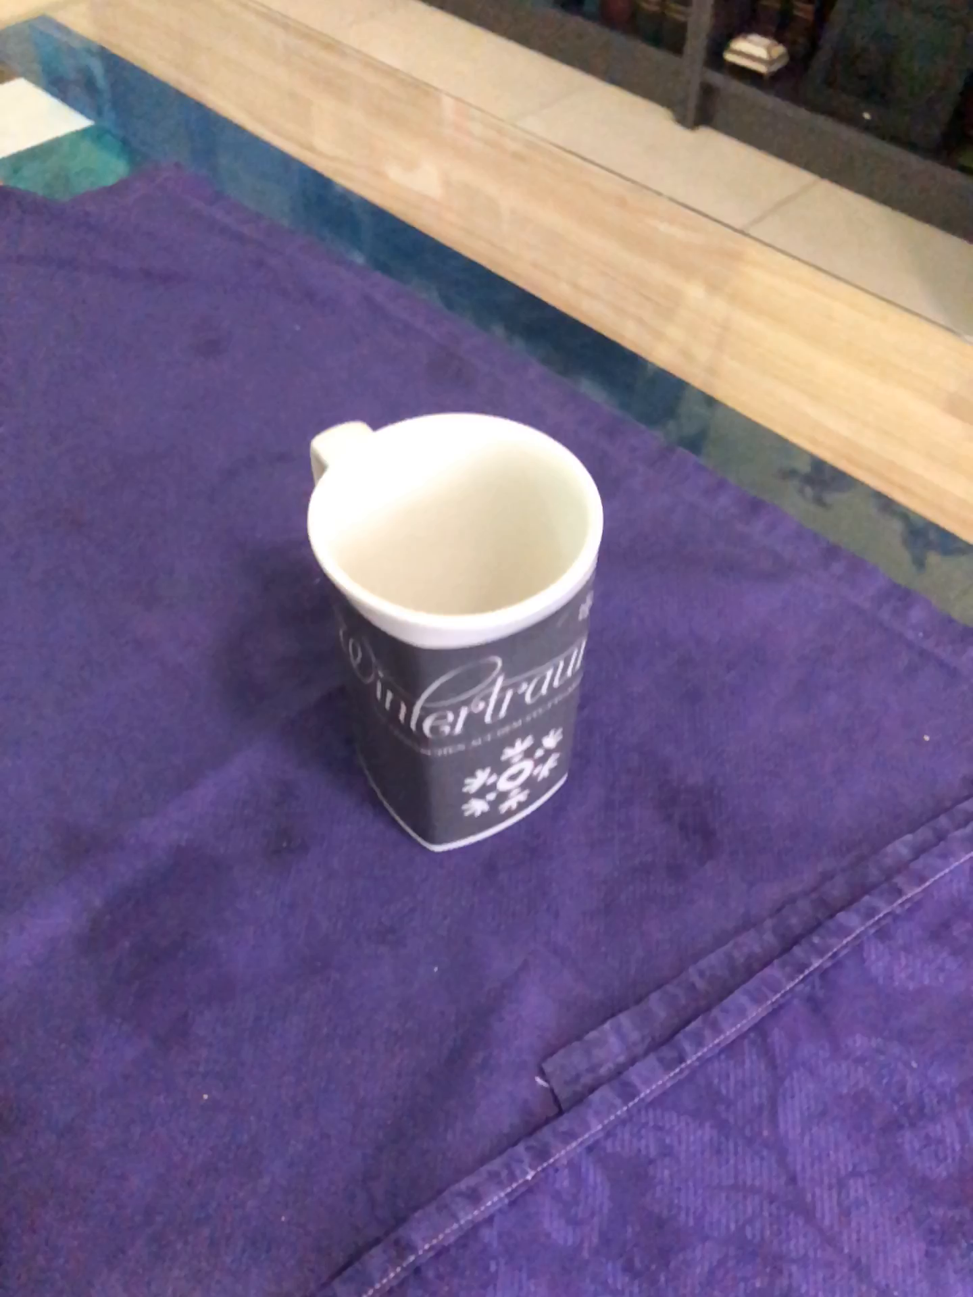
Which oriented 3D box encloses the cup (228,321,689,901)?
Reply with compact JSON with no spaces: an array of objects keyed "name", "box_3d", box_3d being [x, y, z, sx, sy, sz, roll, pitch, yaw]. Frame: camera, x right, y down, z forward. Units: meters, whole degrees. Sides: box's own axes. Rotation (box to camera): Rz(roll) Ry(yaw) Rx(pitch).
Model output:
[{"name":"cup","box_3d":[-0.010,-0.010,0.308,0.070,0.110,0.100,-26,56,-20]}]
